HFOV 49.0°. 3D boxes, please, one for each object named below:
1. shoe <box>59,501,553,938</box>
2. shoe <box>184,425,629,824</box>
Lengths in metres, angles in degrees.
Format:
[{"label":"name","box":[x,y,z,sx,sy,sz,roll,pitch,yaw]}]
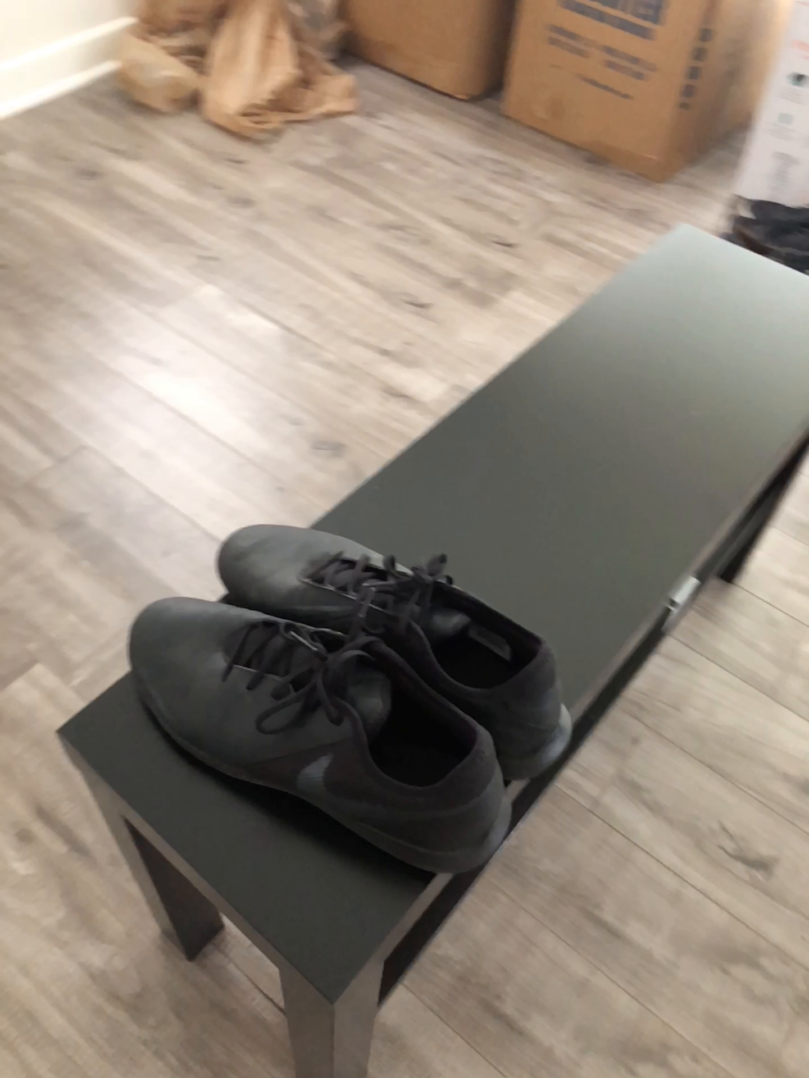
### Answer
[{"label":"shoe","box":[-0.067,0.108,0.570,0.294,0.110,0.100,29,54,19]},{"label":"shoe","box":[-0.009,0.052,0.627,0.294,0.110,0.100,32,55,21]}]
